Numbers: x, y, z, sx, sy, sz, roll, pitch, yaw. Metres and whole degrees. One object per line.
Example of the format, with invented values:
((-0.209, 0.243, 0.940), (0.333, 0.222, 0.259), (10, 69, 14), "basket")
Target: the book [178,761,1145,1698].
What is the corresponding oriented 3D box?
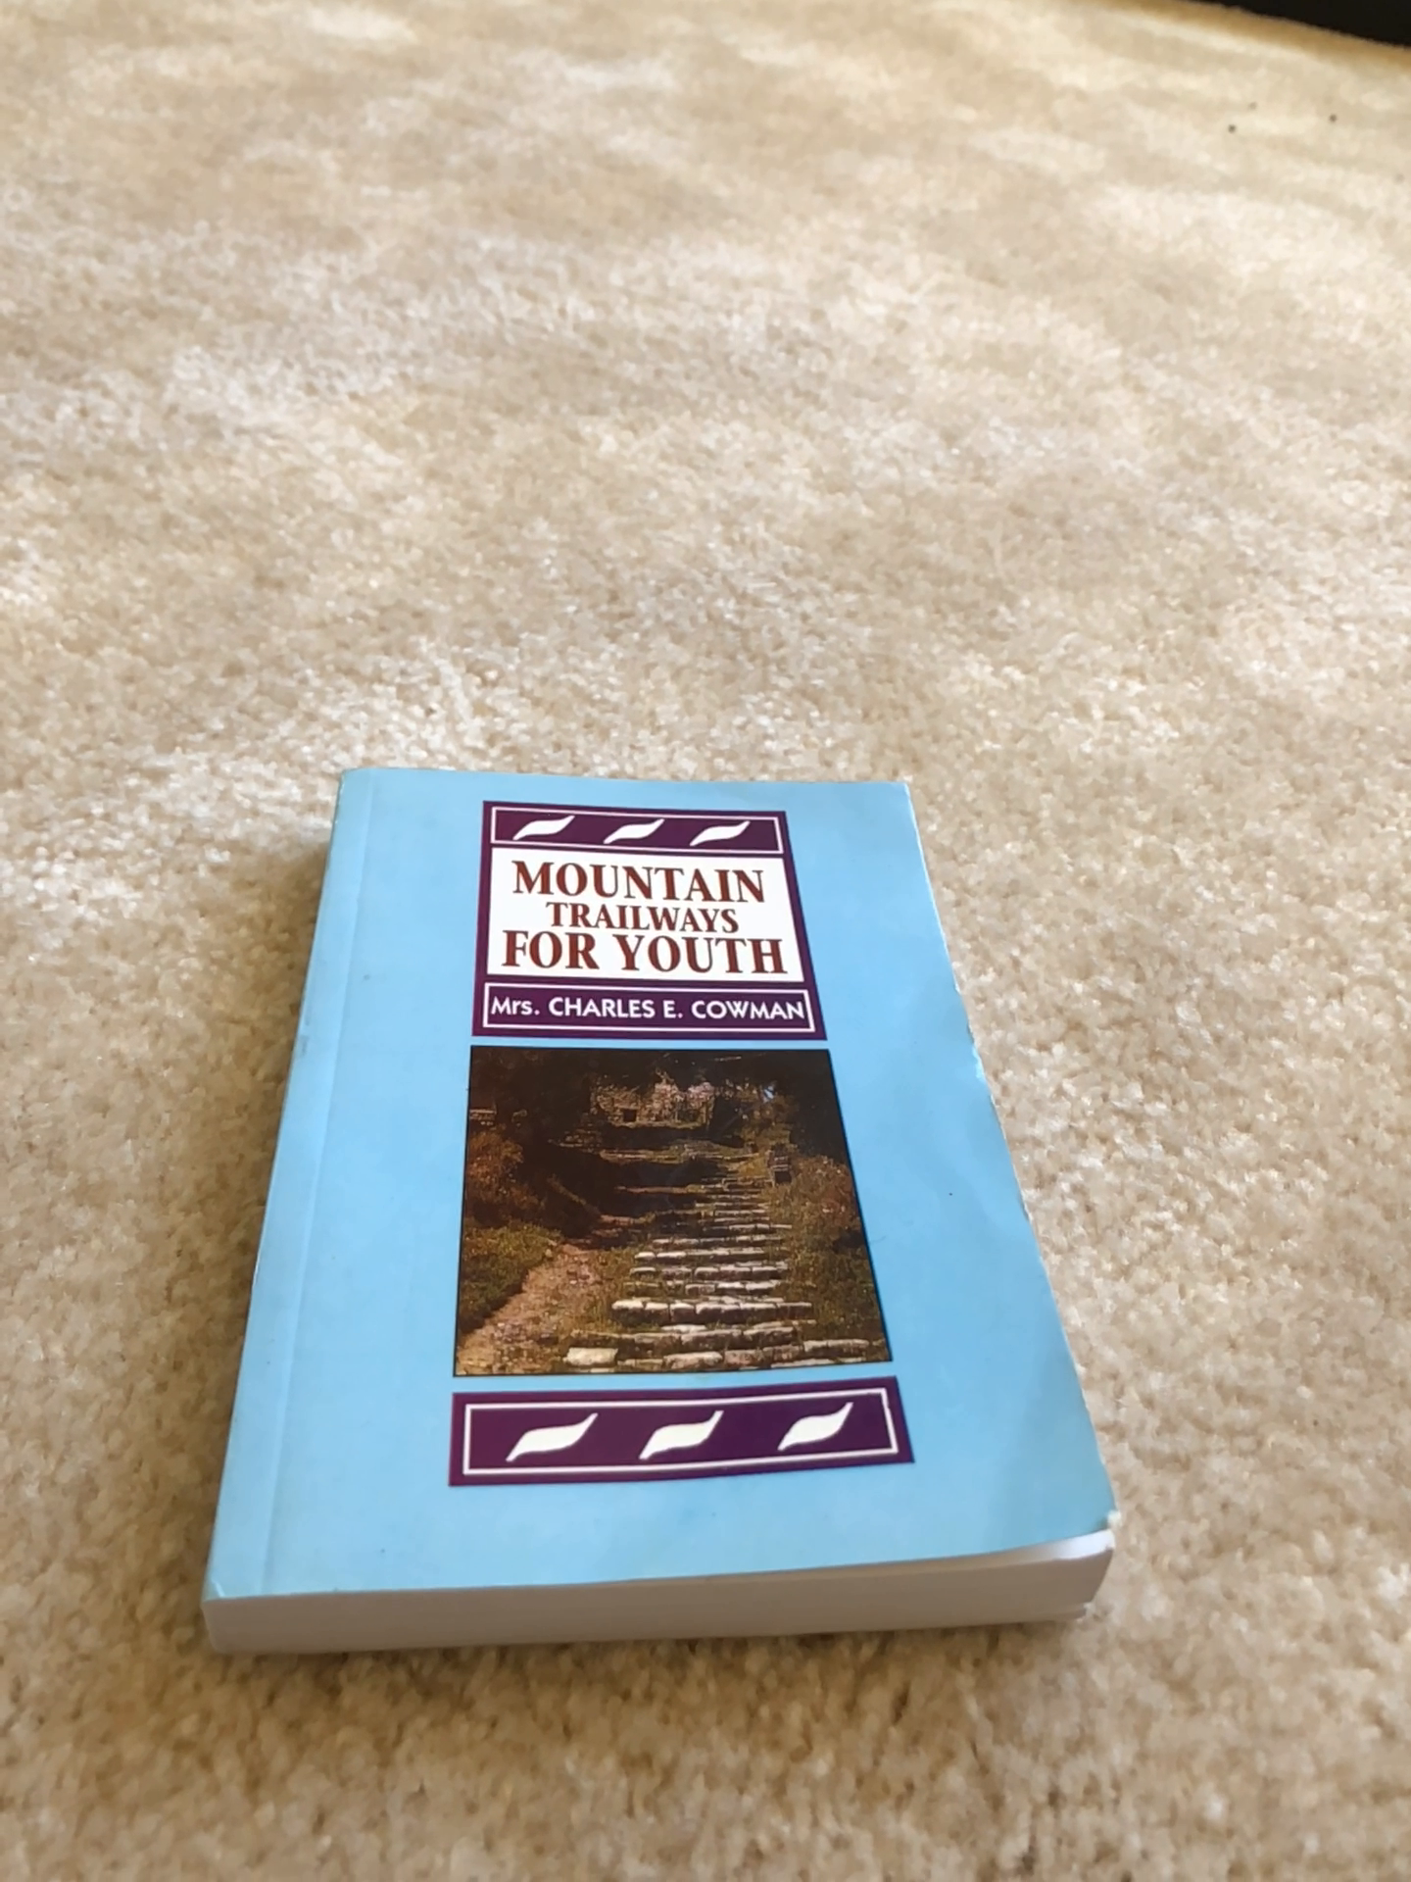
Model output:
((-0.010, 0.033, 0.269), (0.122, 0.030, 0.171), (0, 43, -5), "book")
